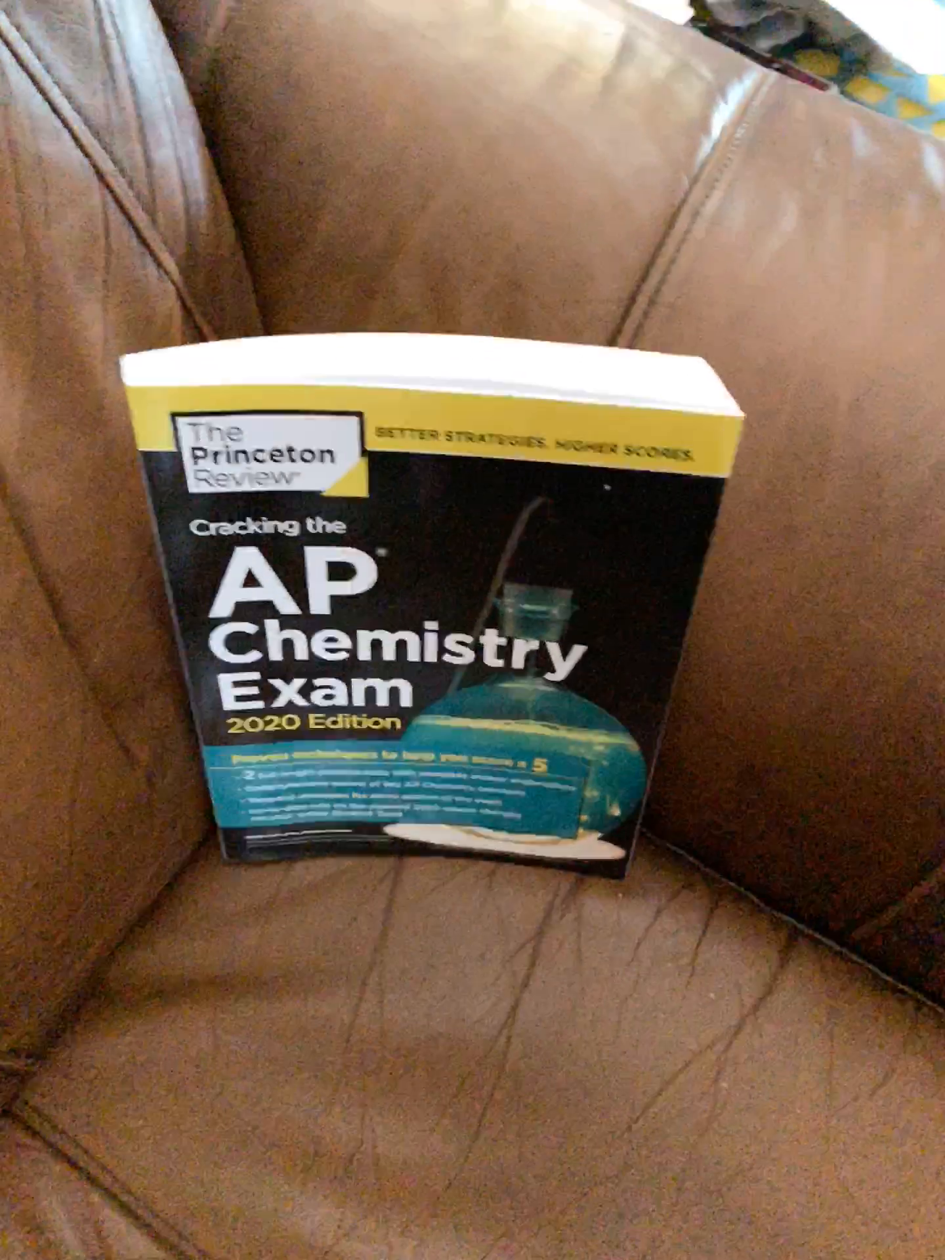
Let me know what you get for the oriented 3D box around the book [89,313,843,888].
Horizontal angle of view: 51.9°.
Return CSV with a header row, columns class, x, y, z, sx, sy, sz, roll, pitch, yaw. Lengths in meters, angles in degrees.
class,x,y,z,sx,sy,sz,roll,pitch,yaw
book,-0.012,0.020,0.441,0.240,0.319,0.040,3,48,-3
